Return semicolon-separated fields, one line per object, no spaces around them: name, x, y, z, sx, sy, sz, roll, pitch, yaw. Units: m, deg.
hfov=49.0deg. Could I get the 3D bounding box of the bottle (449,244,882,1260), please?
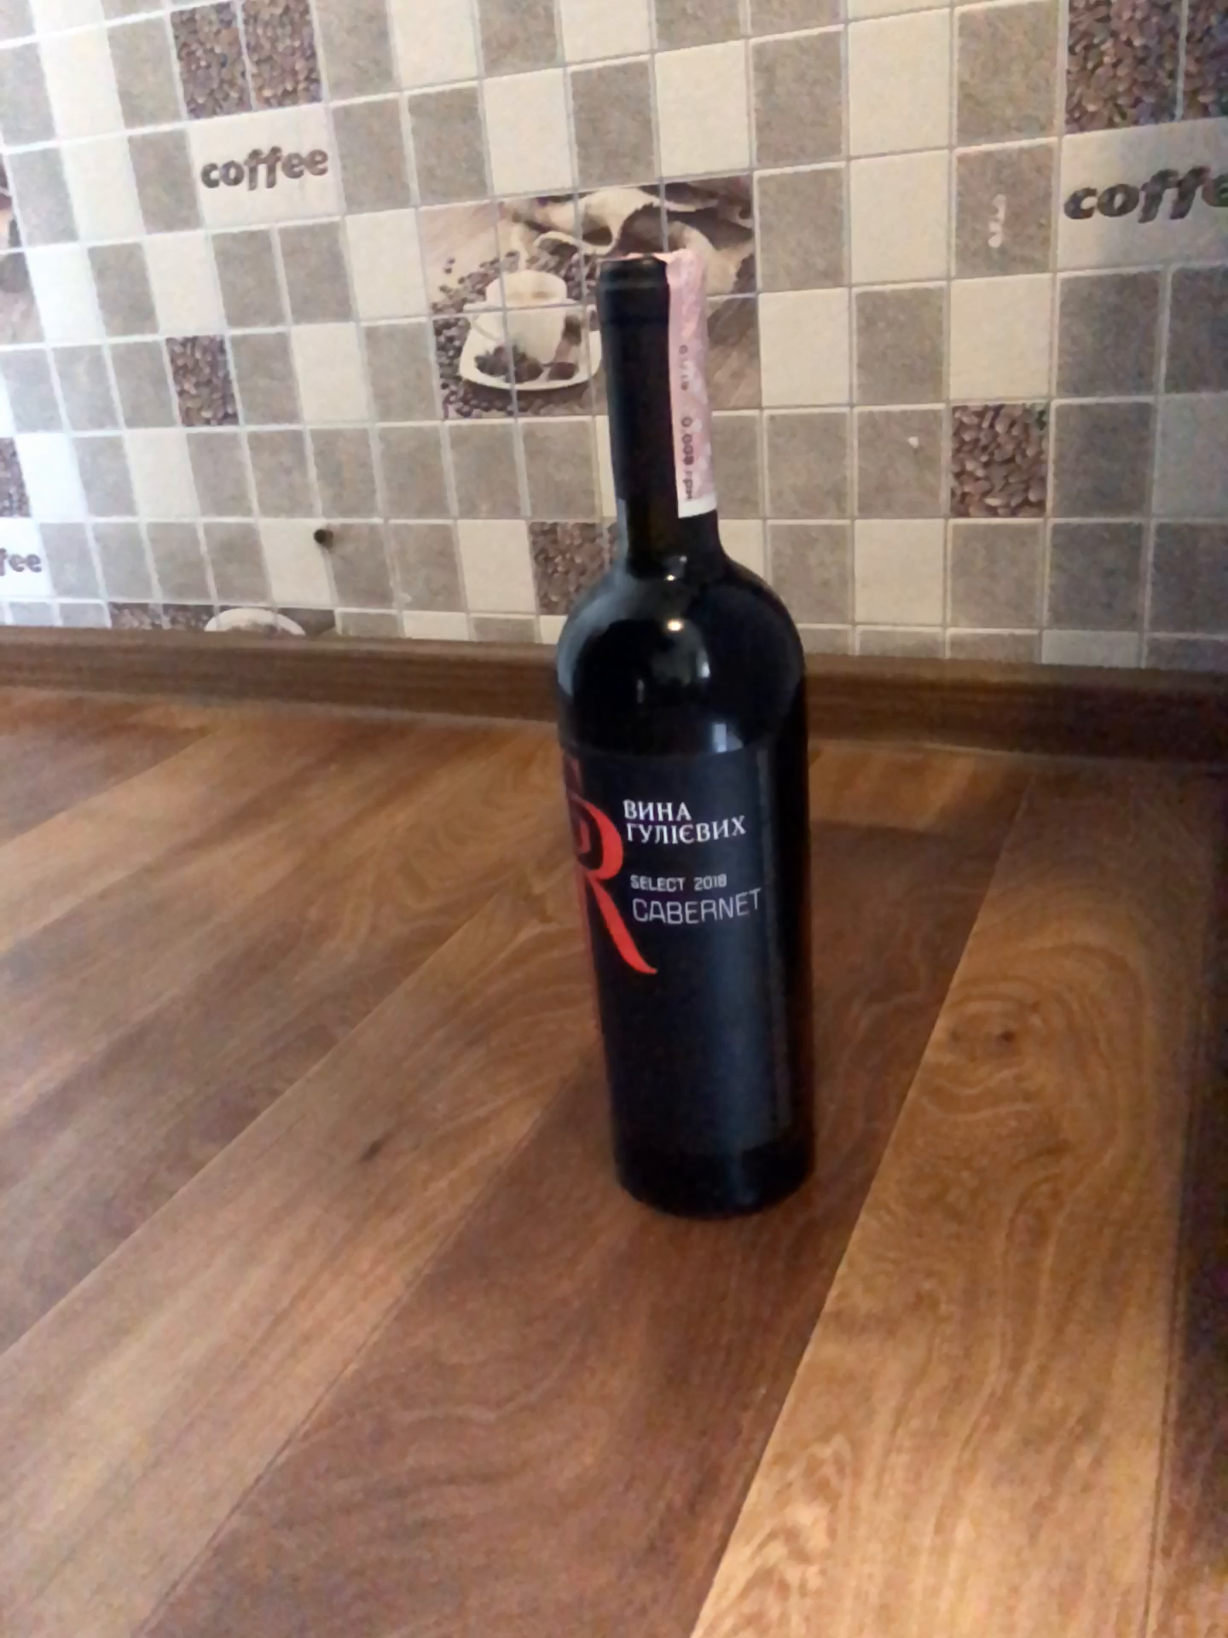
bottle;0.028;-0.019;0.432;0.090;0.297;0.090;-4;22;2
